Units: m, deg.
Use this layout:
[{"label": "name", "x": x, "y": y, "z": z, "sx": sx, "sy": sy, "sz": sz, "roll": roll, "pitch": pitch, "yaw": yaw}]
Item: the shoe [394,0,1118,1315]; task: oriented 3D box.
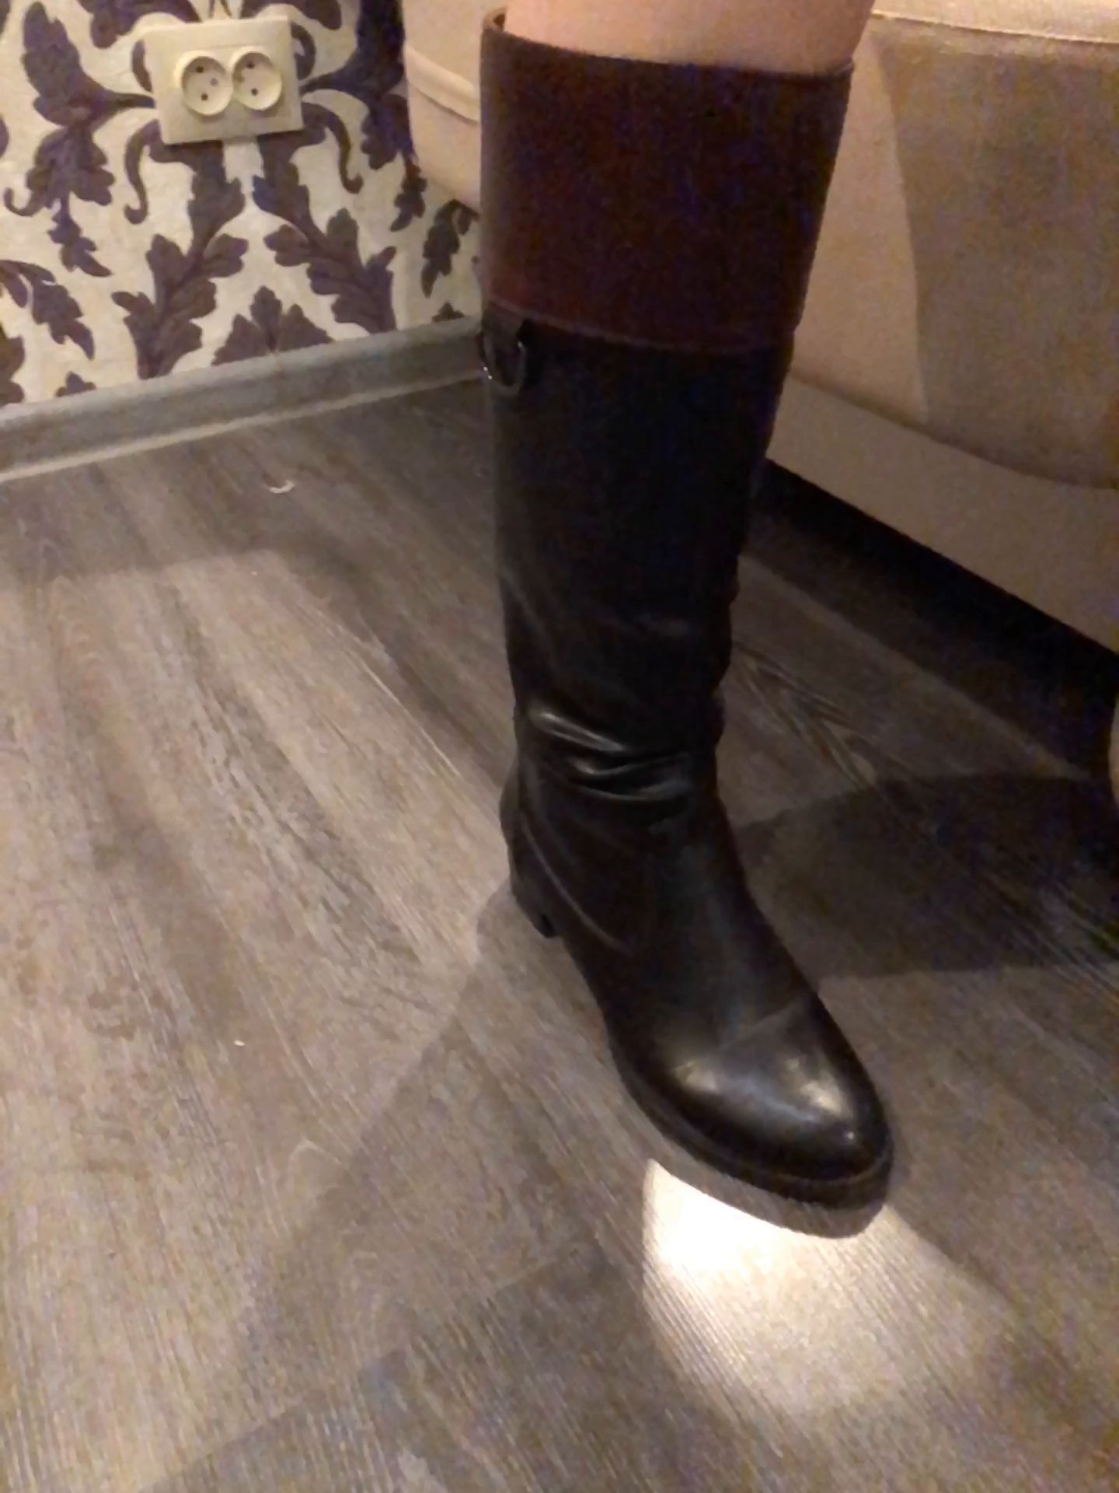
[{"label": "shoe", "x": 0.063, "y": -0.030, "z": 0.472, "sx": 0.110, "sy": 0.417, "sz": 0.271, "roll": -21, "pitch": 42, "yaw": -24}]
